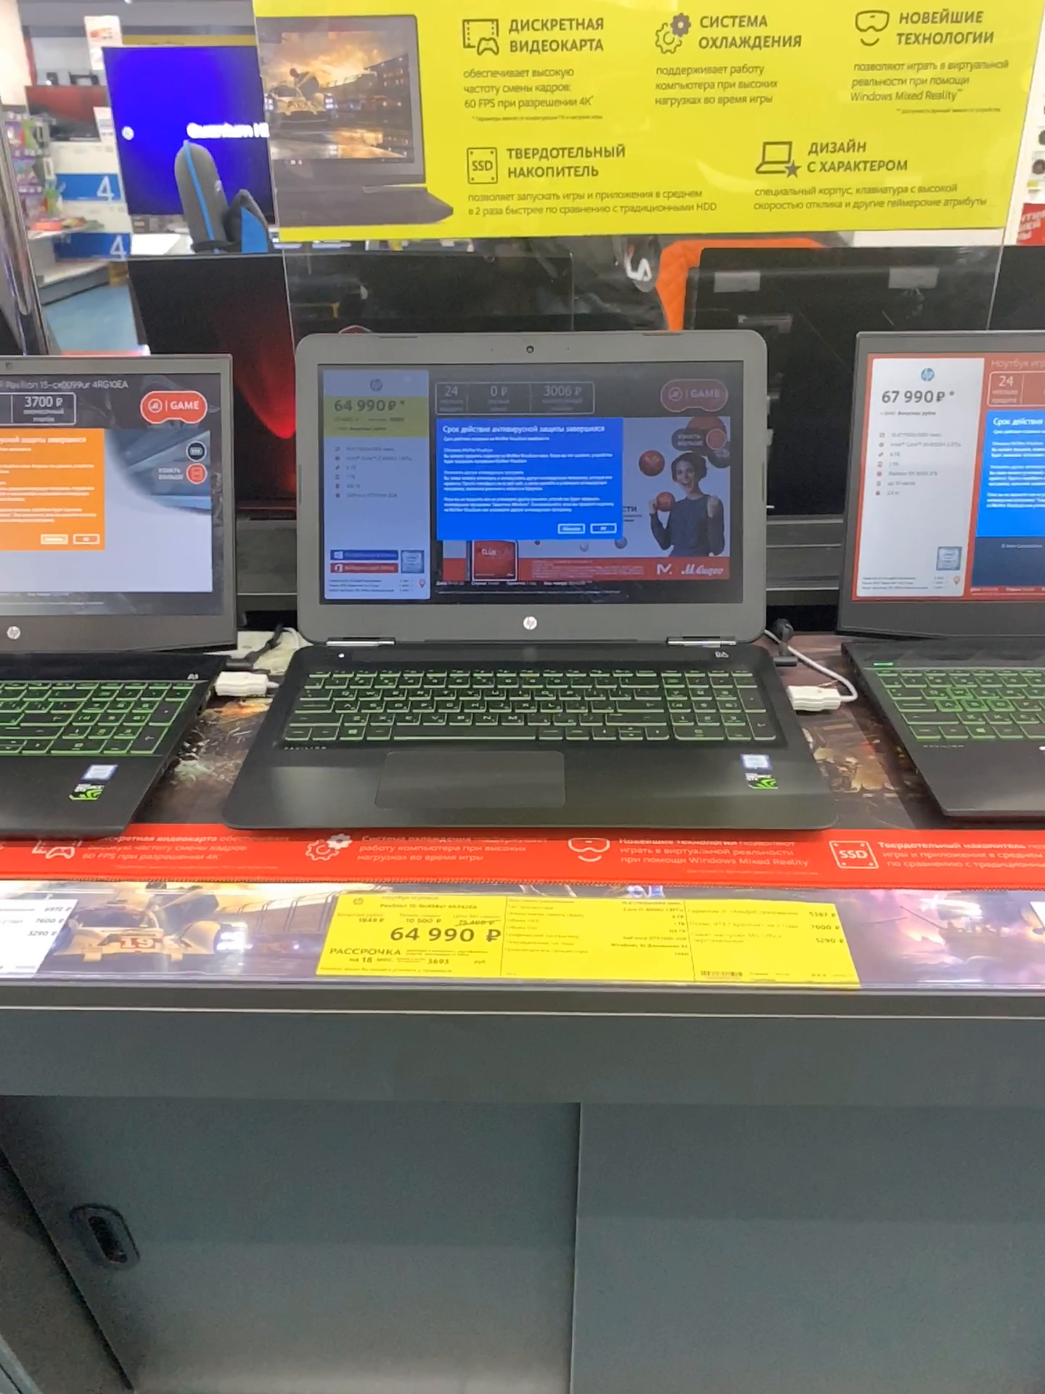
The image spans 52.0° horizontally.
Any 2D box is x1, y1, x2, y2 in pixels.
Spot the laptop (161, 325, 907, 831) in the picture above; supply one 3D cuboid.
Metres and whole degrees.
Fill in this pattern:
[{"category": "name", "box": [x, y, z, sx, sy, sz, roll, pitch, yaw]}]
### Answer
[{"category": "laptop", "box": [0.006, -0.113, 0.767, 0.384, 0.223, 0.381, 0, 29, 0]}]
